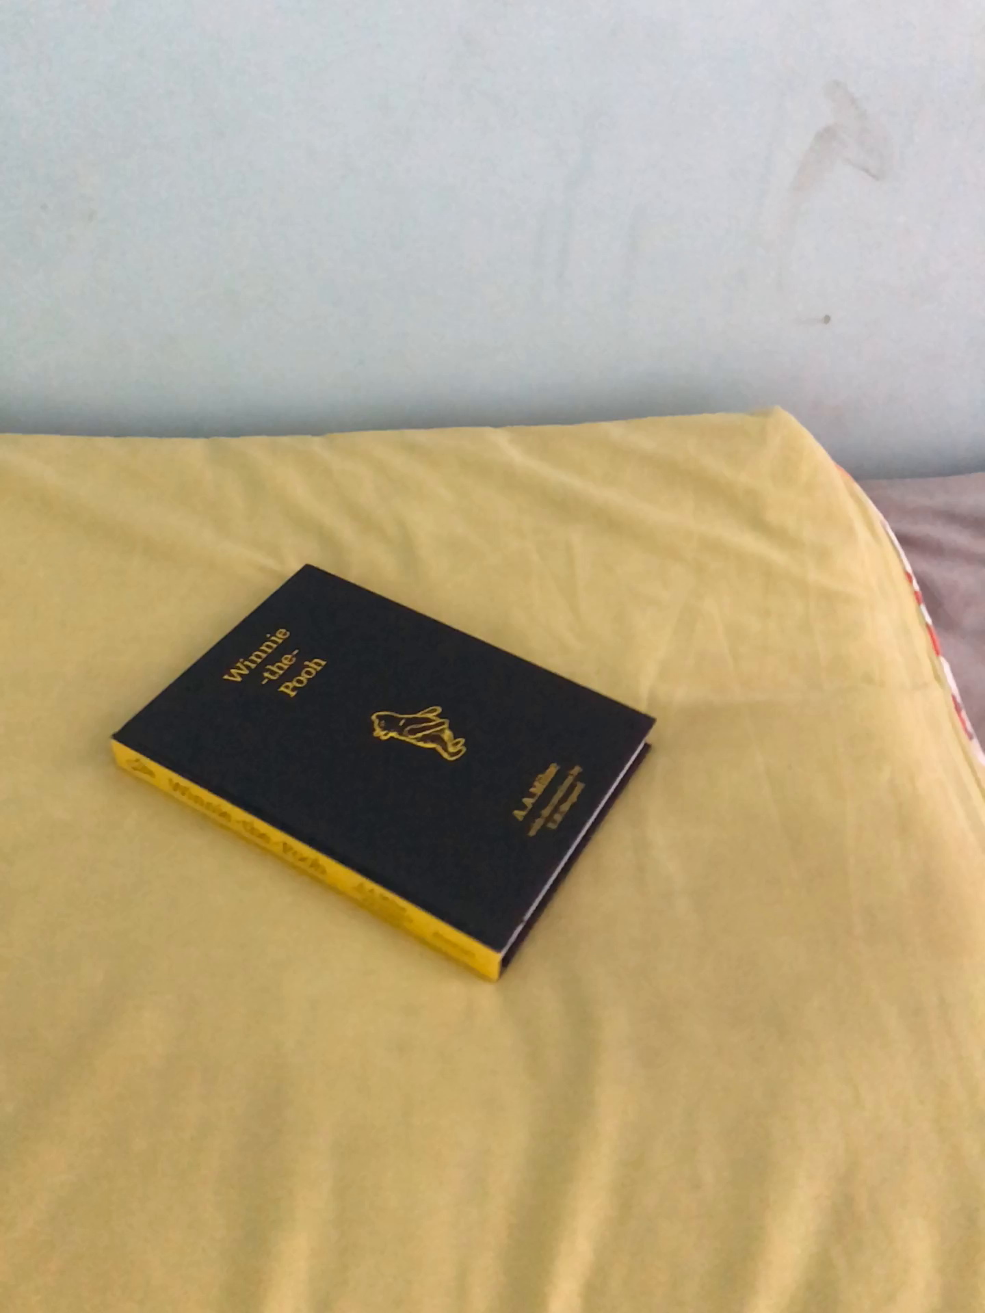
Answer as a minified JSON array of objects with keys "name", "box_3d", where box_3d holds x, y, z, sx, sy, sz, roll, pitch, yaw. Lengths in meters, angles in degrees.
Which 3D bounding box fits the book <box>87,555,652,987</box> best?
[{"name":"book","box_3d":[-0.057,0.040,0.520,0.220,0.020,0.151,25,50,20]}]
